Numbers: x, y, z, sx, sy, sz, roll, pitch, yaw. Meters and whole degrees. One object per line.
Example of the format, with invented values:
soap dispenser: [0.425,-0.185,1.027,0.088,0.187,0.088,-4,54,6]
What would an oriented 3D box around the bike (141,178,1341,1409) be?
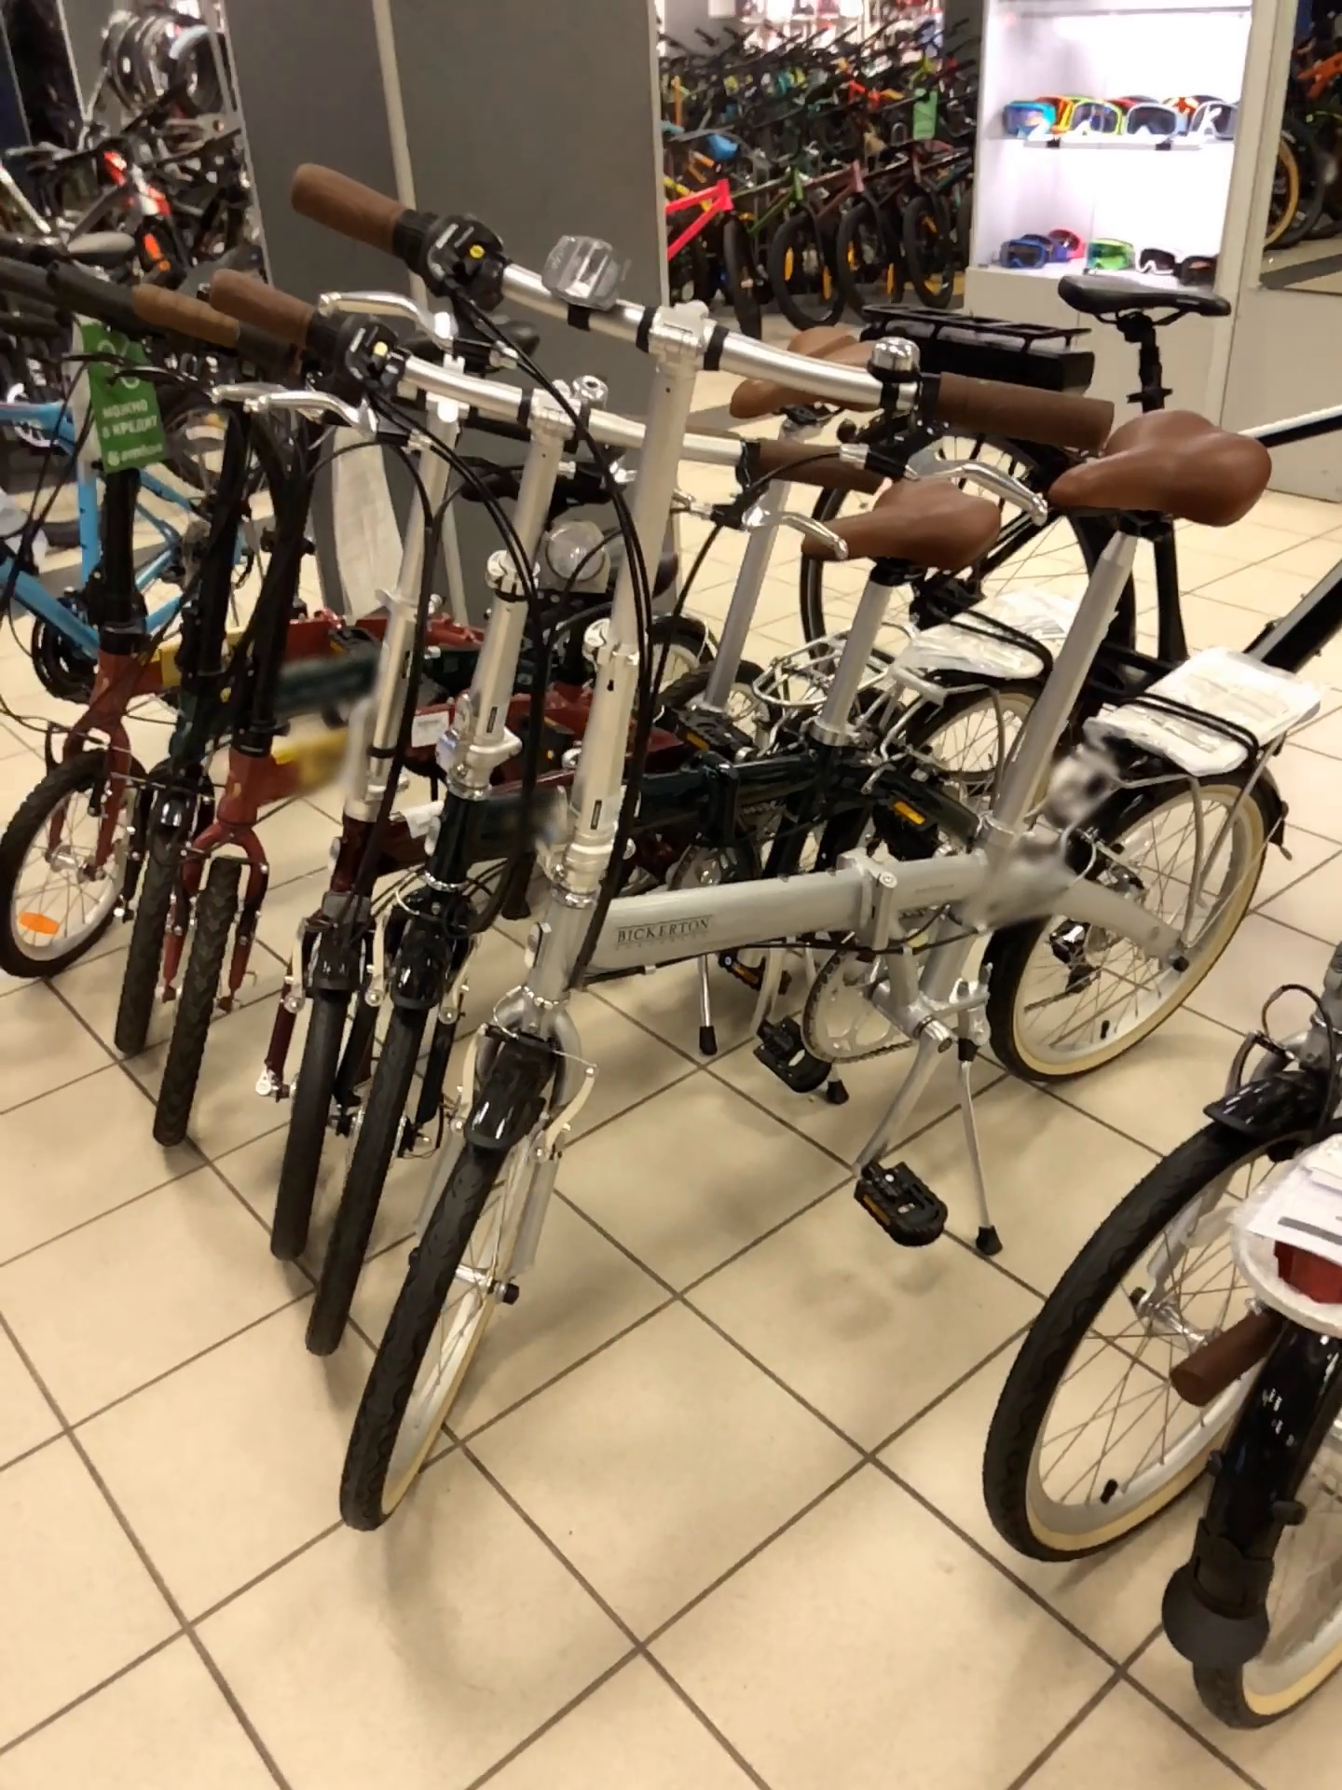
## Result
bike: [0.159,-0.217,1.773,1.142,1.036,0.558,-27,38,-35]

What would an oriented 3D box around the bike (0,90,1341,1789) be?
bike: [0.253,-0.092,1.405,1.361,1.153,0.554,-23,35,-33]
